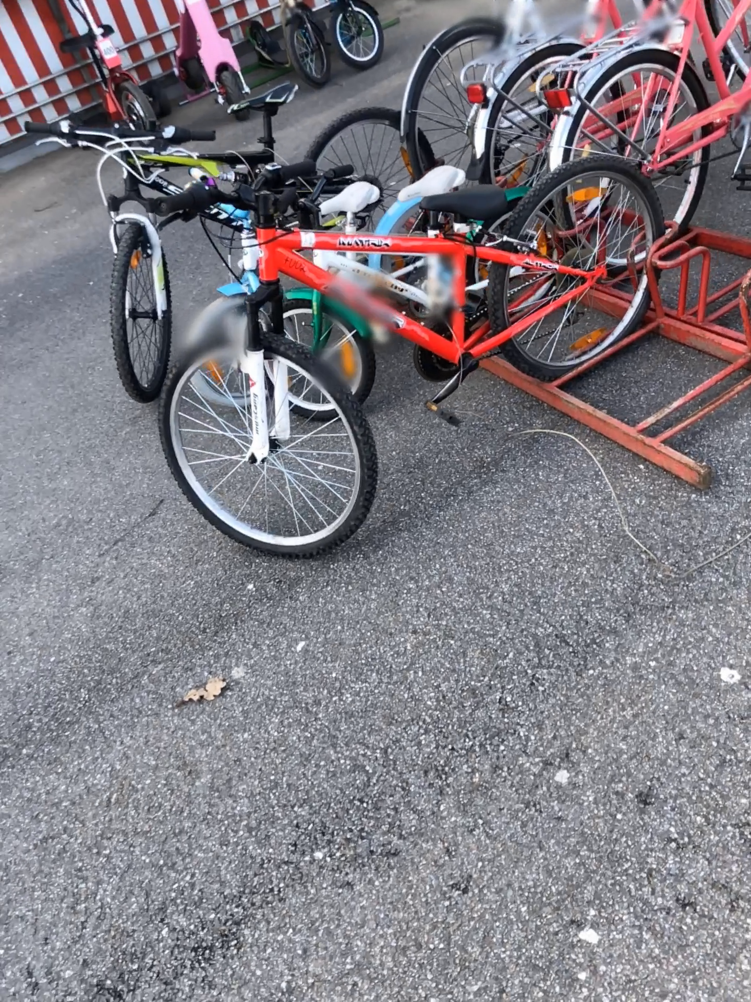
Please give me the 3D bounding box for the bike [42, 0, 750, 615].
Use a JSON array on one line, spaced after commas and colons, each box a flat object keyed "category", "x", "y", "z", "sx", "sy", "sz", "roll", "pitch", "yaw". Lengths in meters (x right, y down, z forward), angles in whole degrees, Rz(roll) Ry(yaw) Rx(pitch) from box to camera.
[{"category": "bike", "x": 0.111, "y": -0.515, "z": 2.006, "sx": 1.444, "sy": 0.907, "sz": 0.554, "roll": -26, "pitch": 40, "yaw": -6}]
